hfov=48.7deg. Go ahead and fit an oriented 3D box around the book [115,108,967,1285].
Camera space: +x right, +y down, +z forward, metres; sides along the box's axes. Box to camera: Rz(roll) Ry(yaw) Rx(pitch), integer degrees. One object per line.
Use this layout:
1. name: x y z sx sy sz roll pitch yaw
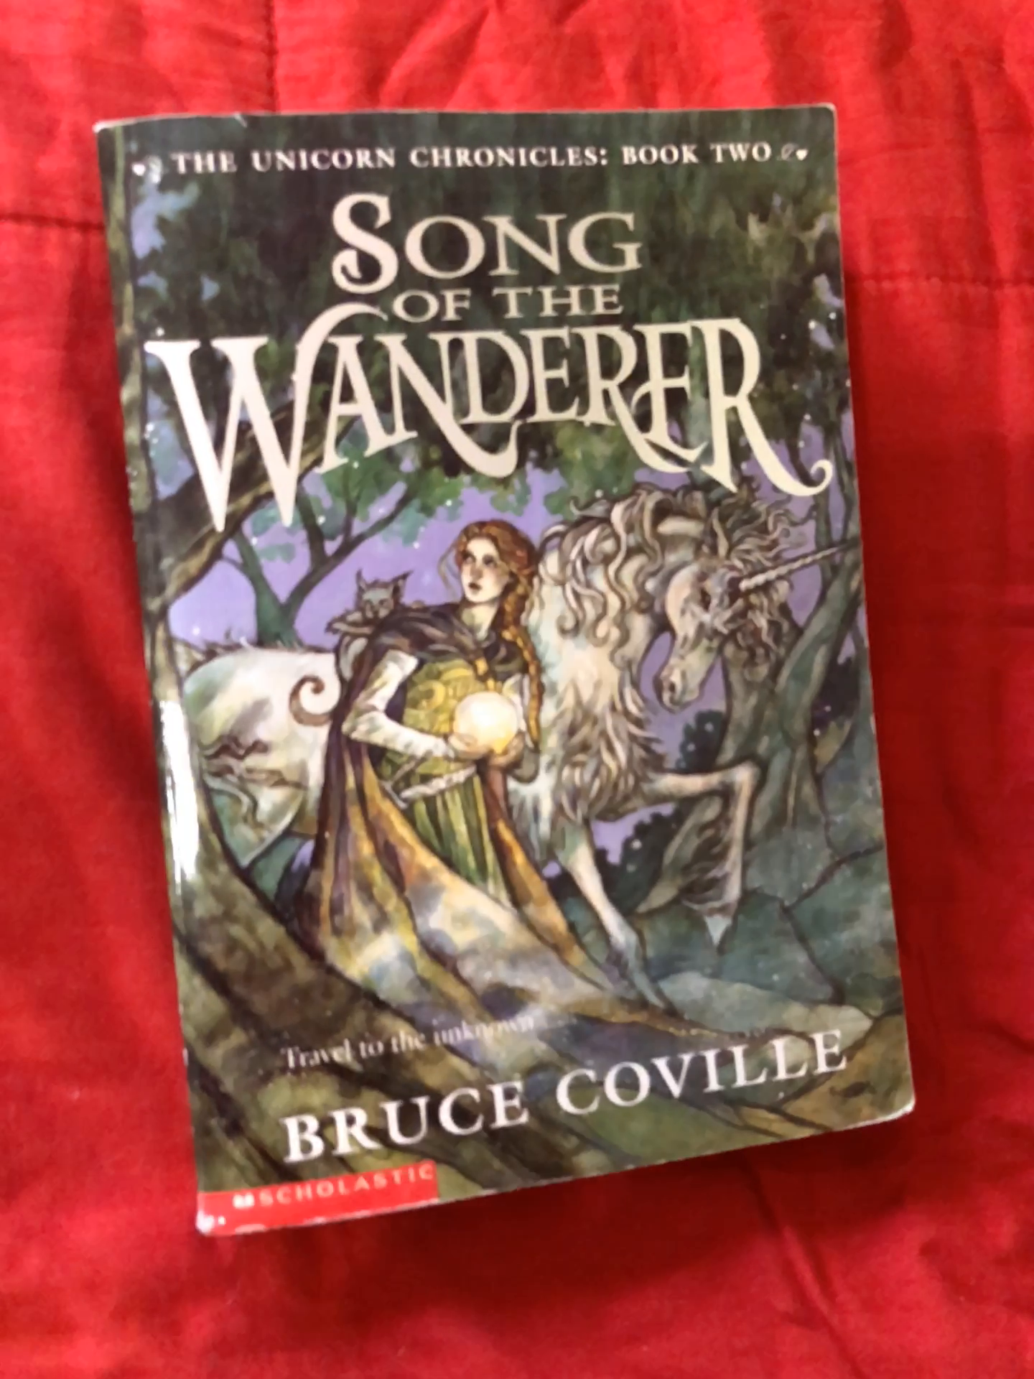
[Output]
1. book: 0.006 -0.003 0.211 0.130 0.030 0.190 -6 91 -8
